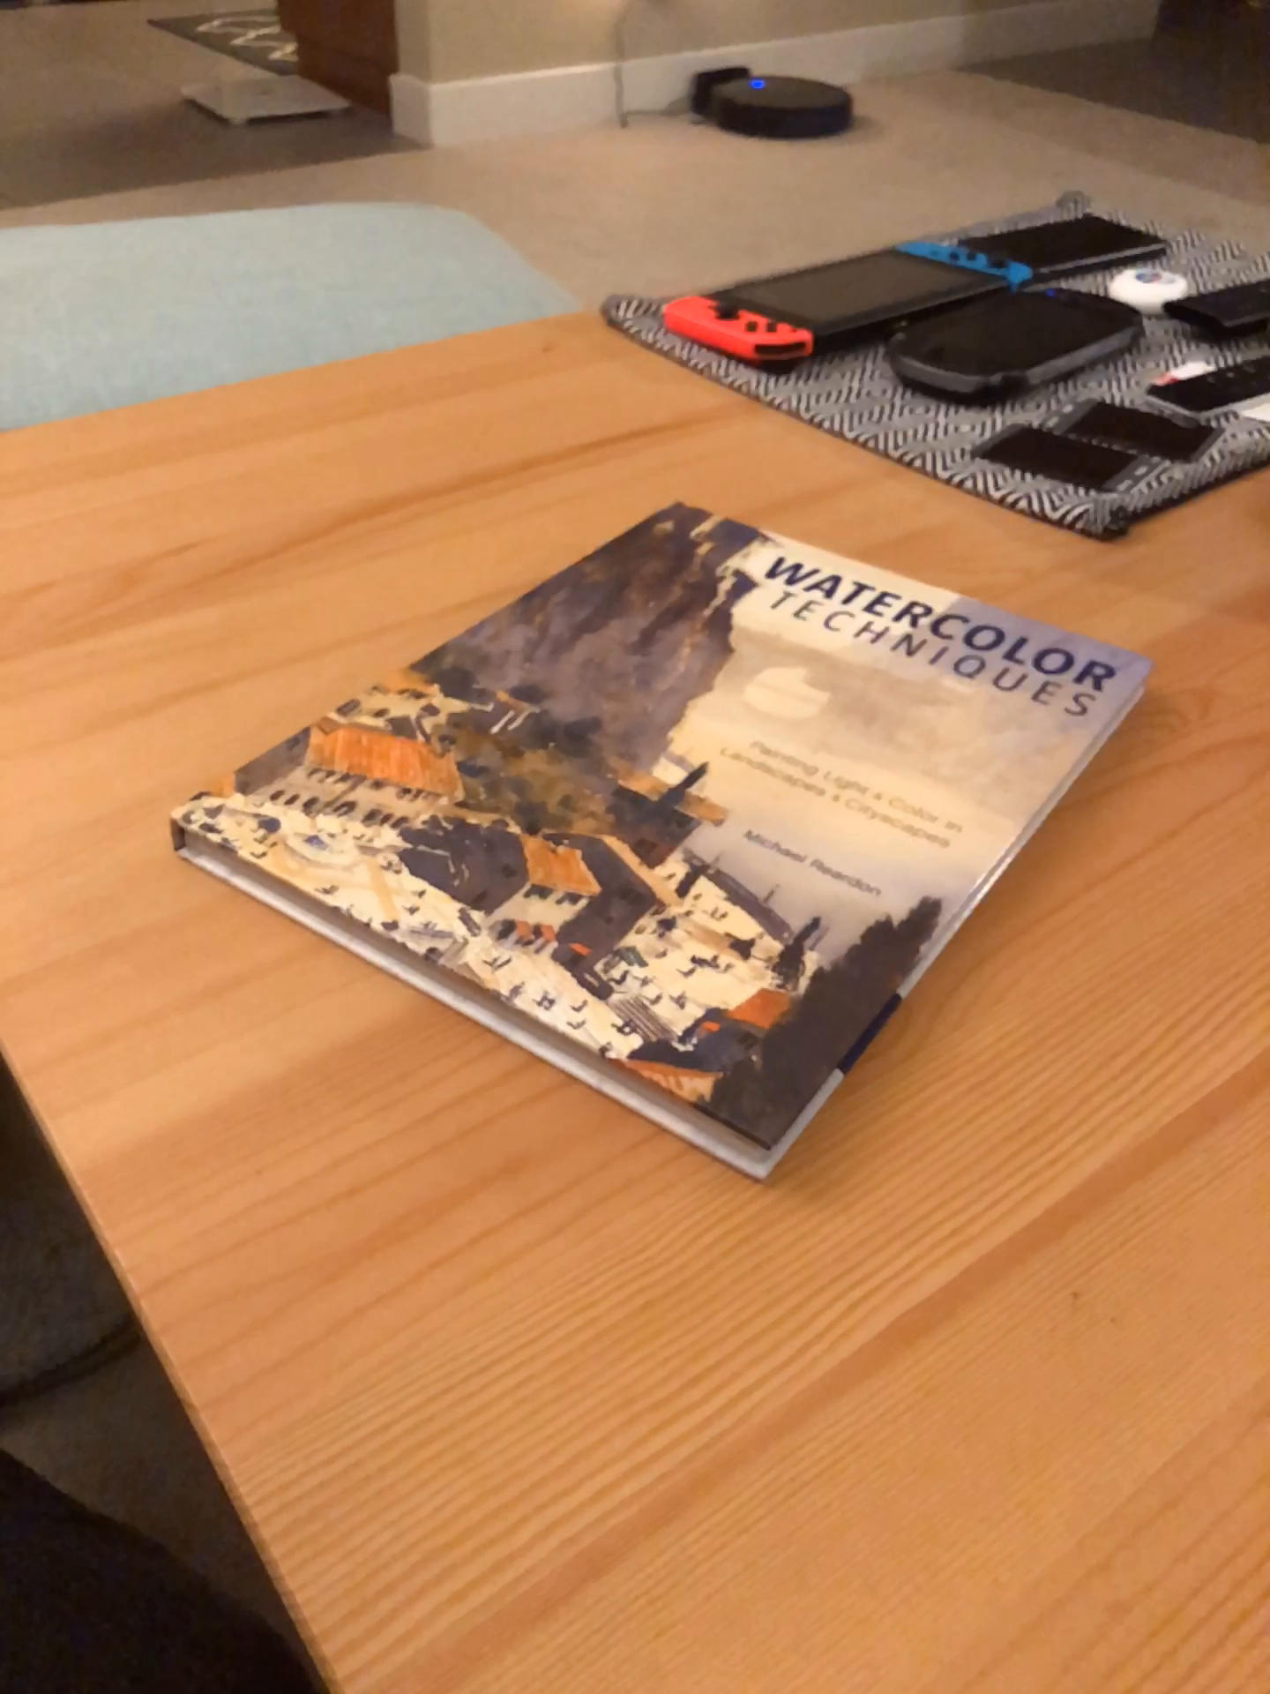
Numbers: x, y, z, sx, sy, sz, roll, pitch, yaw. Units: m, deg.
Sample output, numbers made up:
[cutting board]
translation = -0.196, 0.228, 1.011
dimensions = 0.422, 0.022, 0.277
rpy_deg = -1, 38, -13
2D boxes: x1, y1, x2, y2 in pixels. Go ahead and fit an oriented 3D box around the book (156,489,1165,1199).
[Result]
[book]
translation = 0.025, -0.034, 0.469
dimensions = 0.213, 0.020, 0.280
rpy_deg = 24, 44, 25
